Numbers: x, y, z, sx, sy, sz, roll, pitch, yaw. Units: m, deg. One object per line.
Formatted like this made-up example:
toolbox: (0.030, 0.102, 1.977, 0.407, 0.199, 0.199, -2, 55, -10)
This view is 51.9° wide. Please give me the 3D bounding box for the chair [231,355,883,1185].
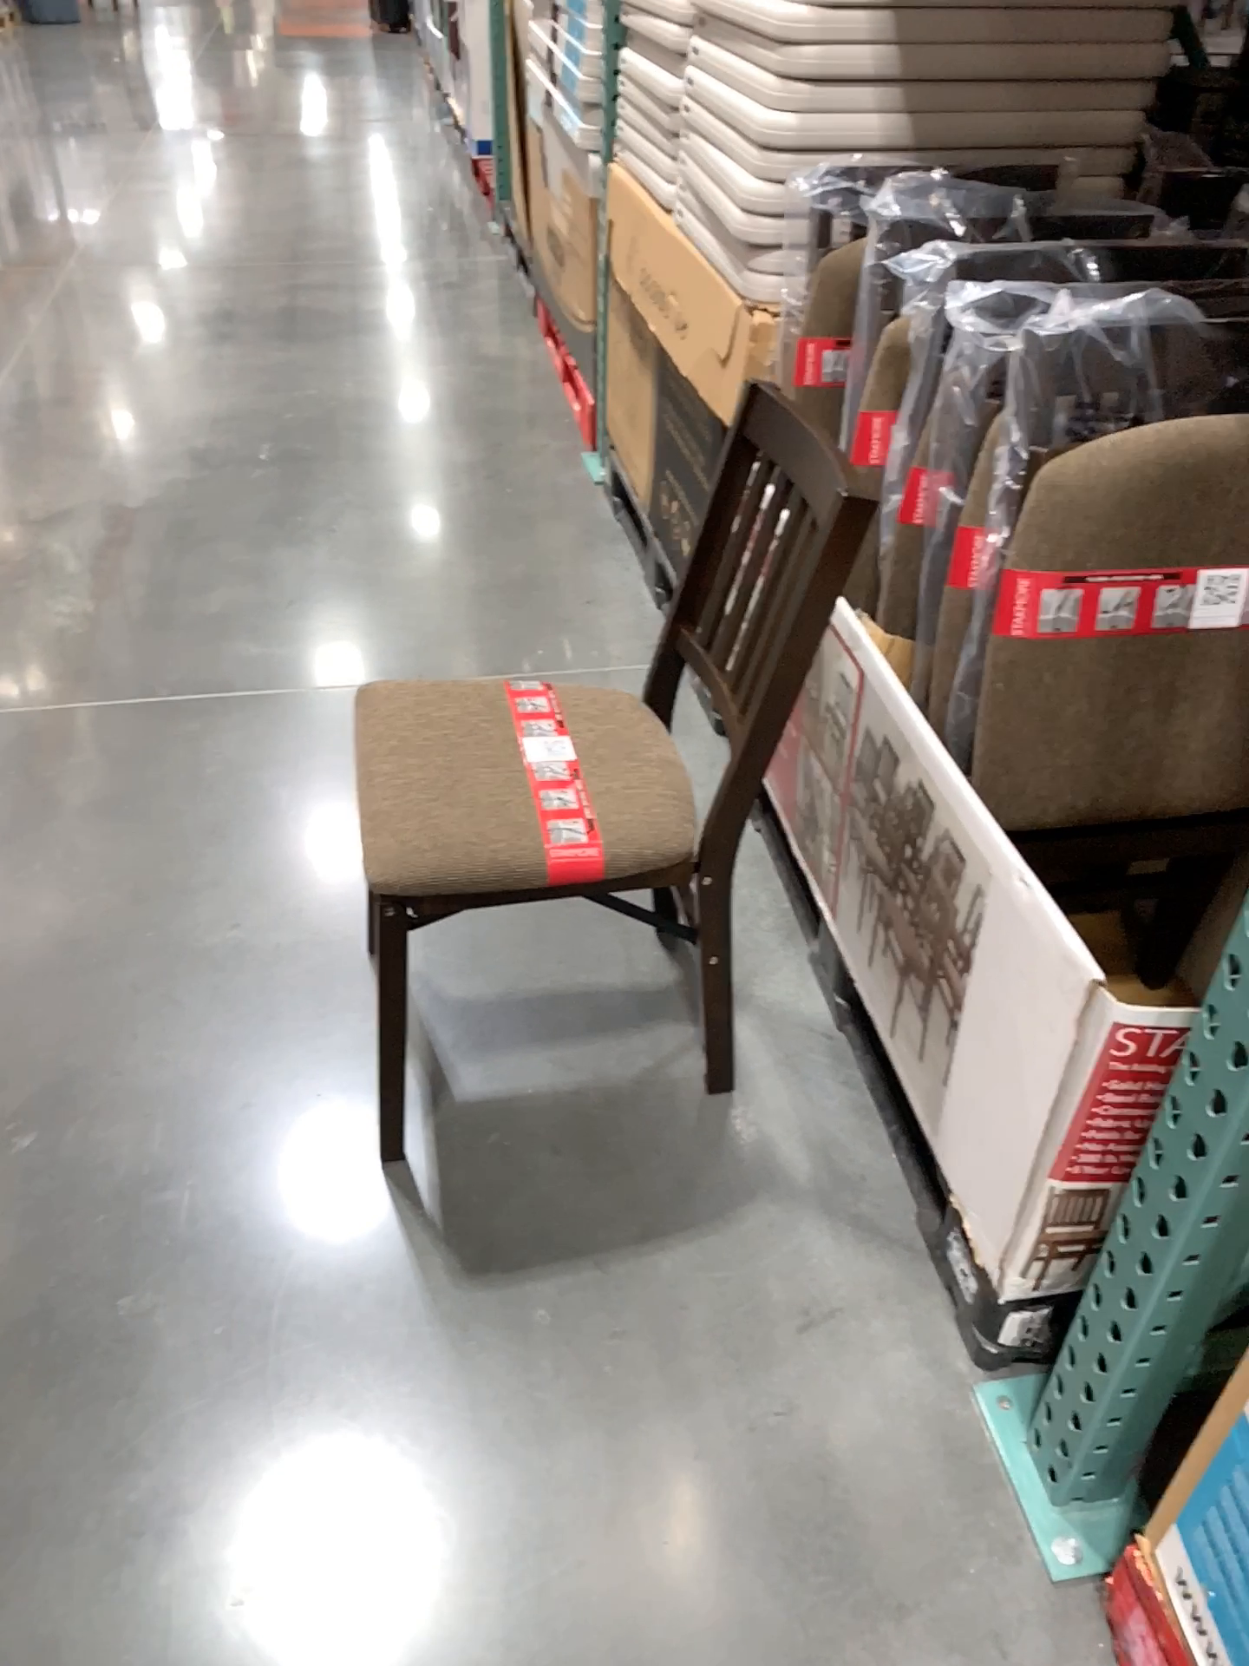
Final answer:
chair: (-0.102, -0.063, 1.525, 0.571, 0.837, 0.423, -7, 38, -11)
